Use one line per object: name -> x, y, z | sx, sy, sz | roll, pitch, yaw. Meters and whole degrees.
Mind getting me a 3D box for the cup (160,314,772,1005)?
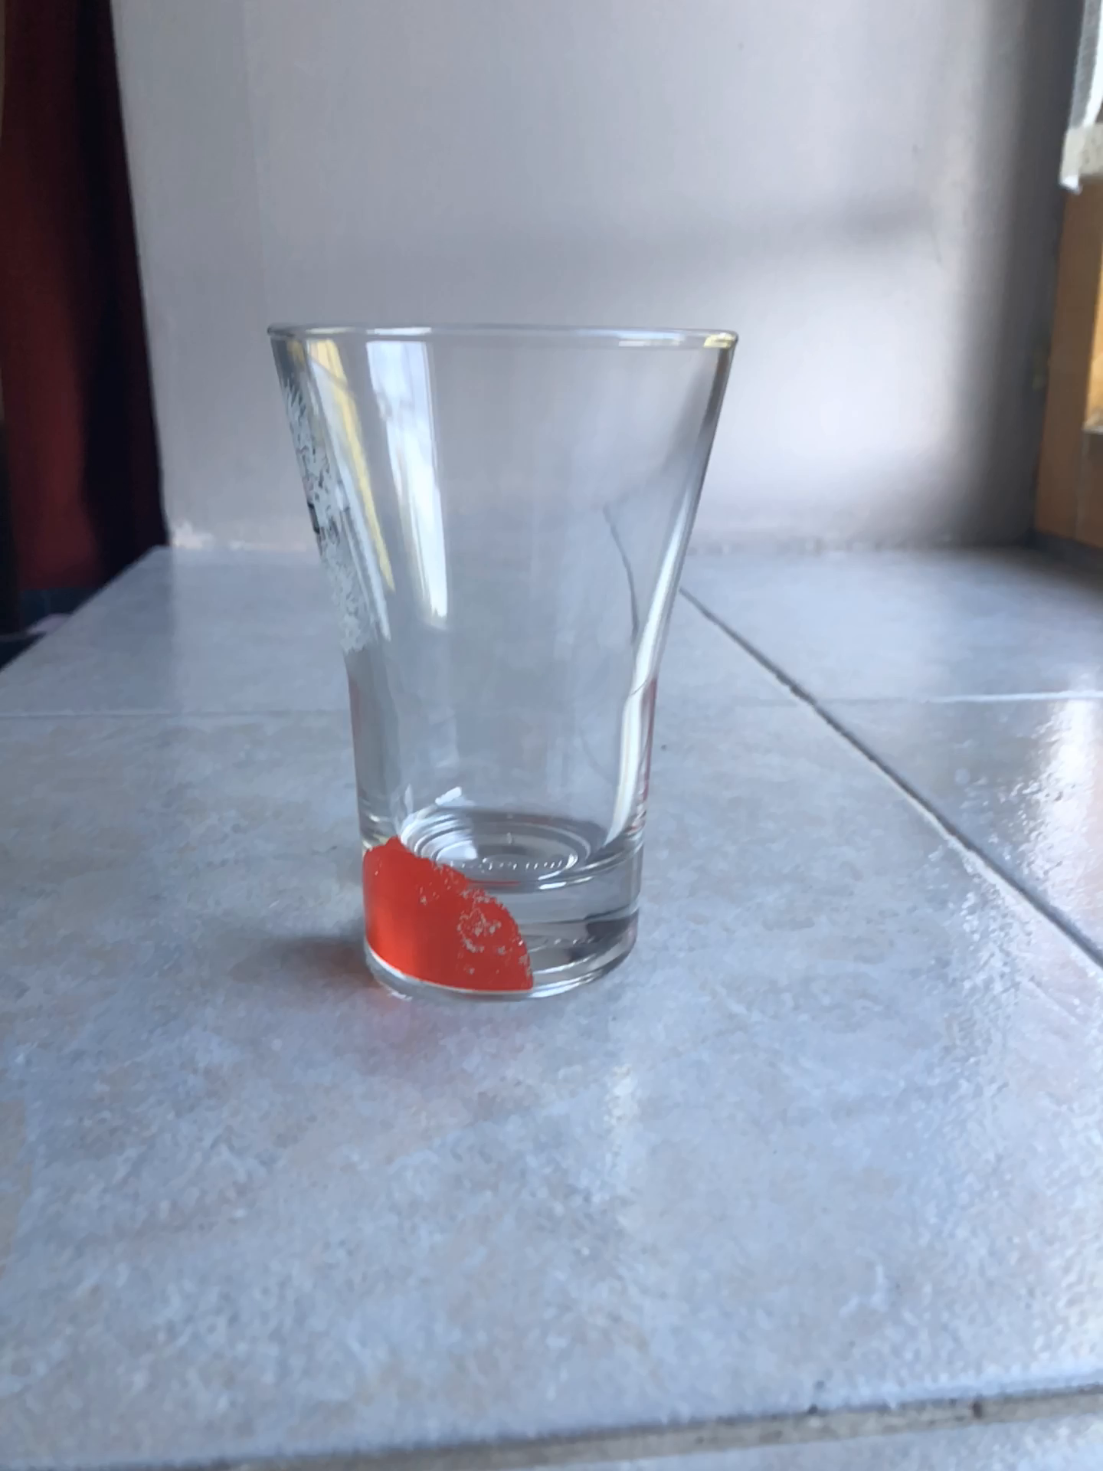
cup -> -0.011, -0.022, 0.247 | 0.092, 0.116, 0.096 | -1, 18, 0
